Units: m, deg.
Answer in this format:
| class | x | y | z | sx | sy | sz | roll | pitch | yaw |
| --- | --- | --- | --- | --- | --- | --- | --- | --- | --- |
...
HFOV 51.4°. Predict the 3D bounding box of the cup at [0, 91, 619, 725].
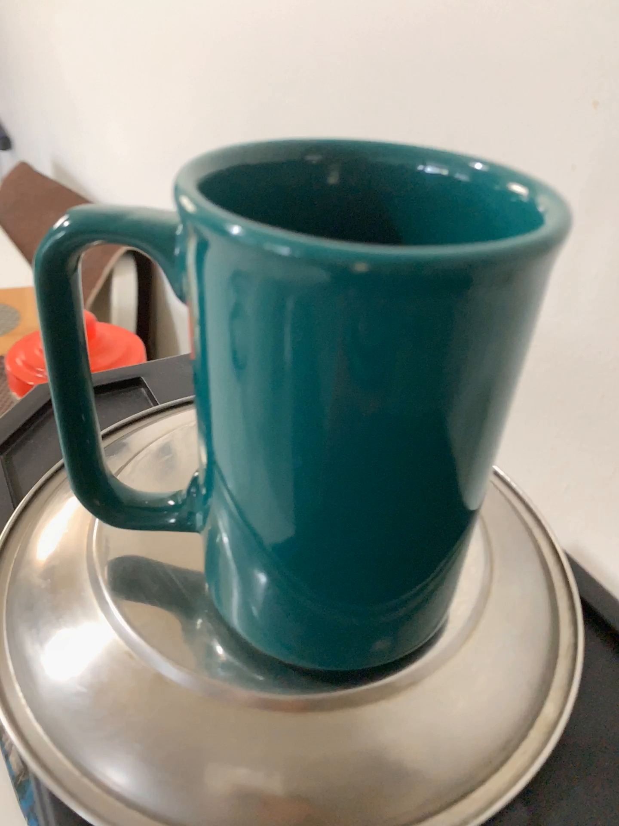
| class | x | y | z | sx | sy | sz | roll | pitch | yaw |
| --- | --- | --- | --- | --- | --- | --- | --- | --- | --- |
| cup | -0.011 | -0.002 | 0.159 | 0.120 | 0.119 | 0.081 | 6 | 34 | 2 |
